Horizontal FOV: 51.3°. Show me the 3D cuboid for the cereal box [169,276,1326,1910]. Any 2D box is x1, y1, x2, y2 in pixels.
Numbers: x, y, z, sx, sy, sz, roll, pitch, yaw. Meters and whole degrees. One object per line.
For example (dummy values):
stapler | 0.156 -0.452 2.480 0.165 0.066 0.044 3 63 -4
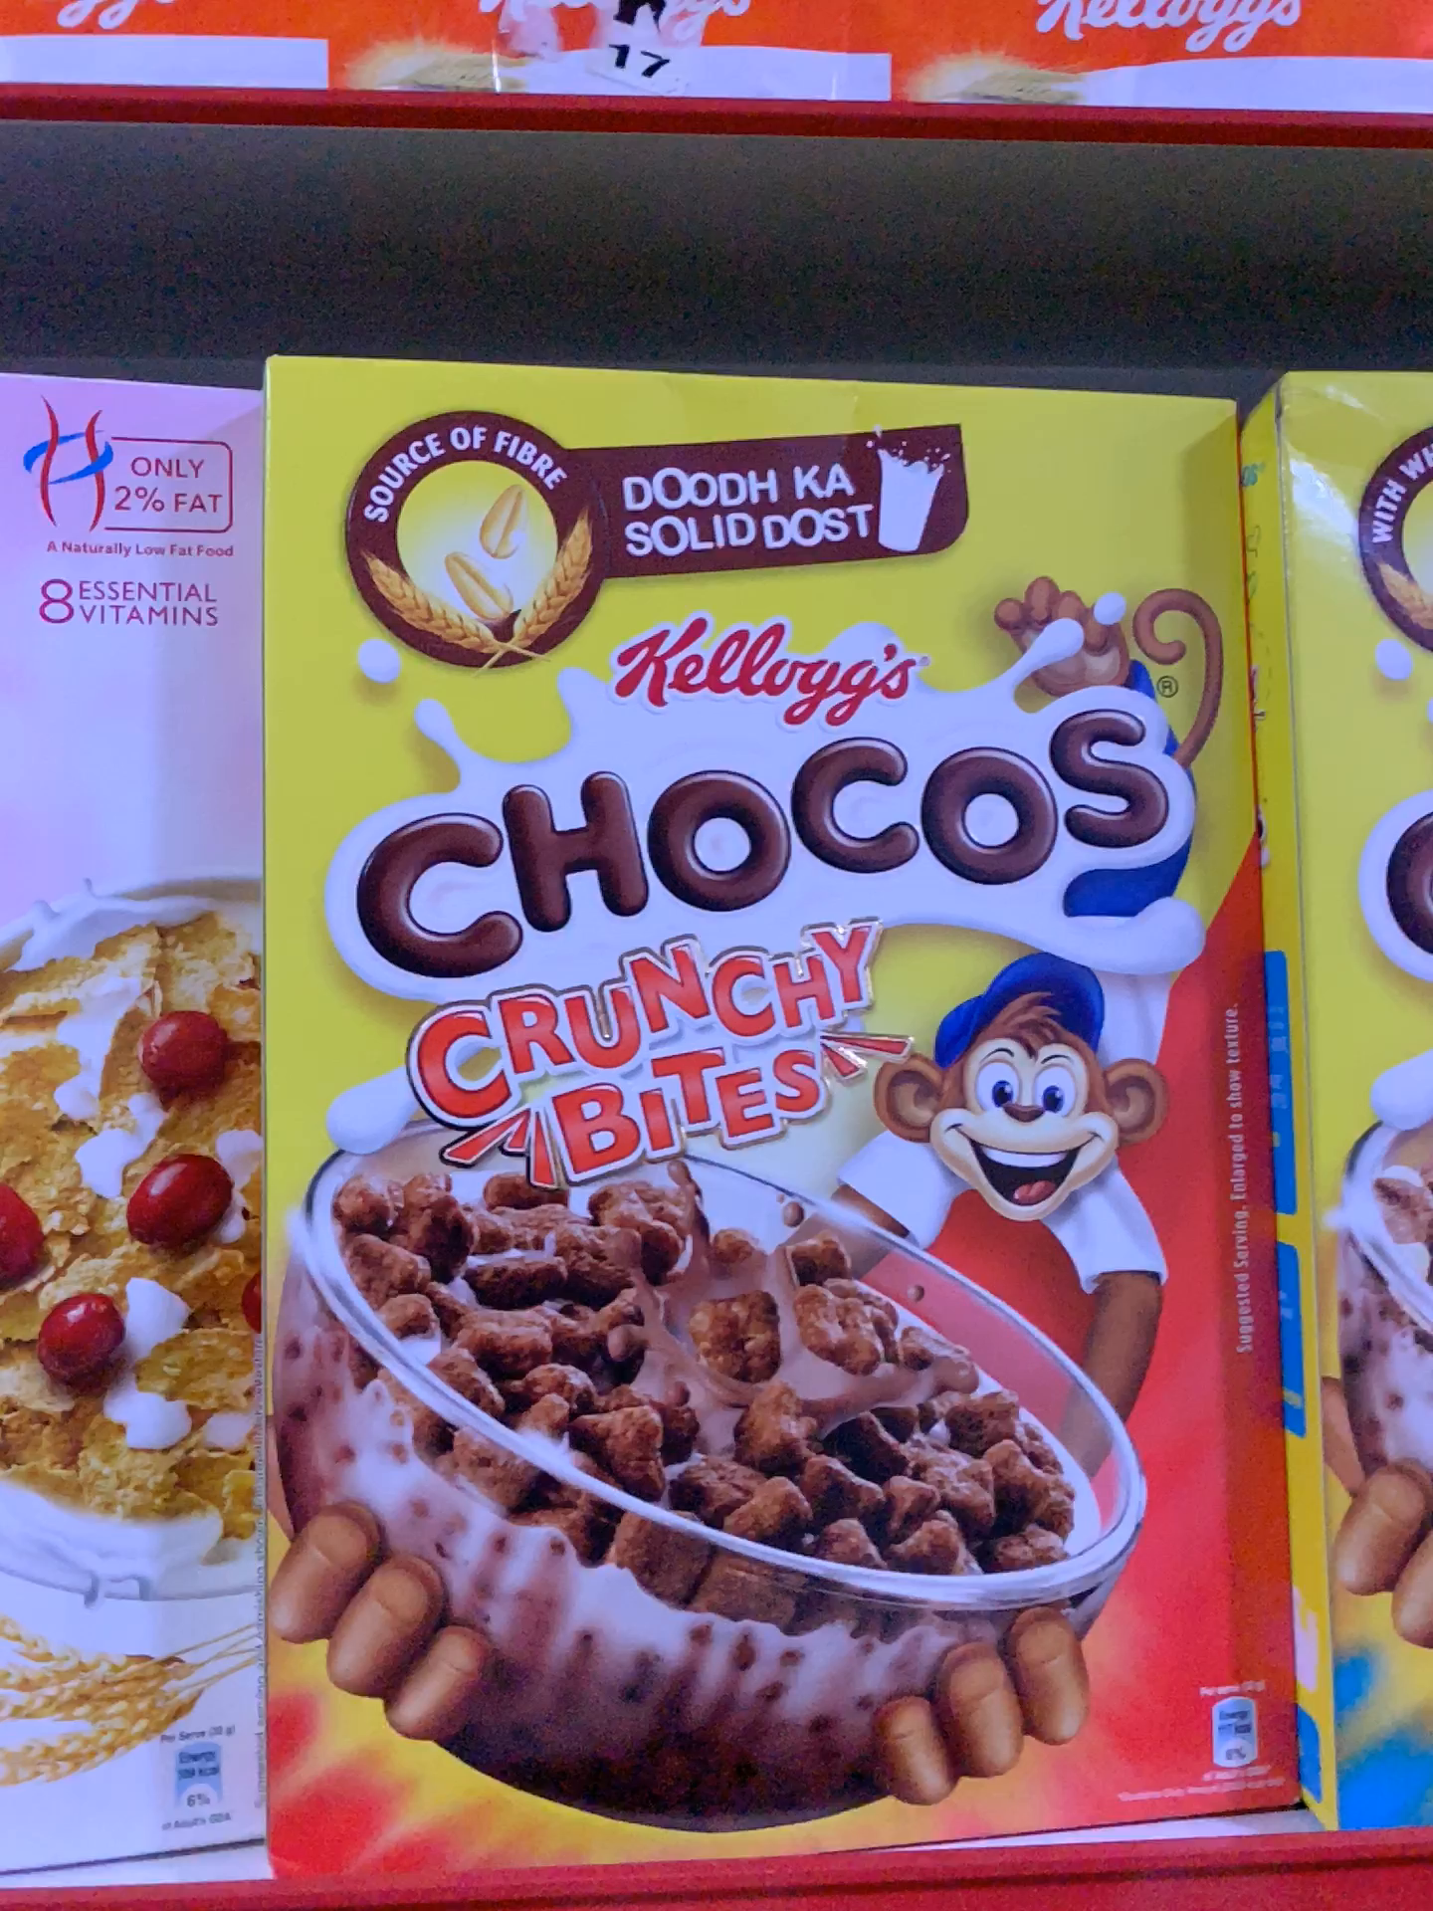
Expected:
cereal box | 0.002 0.022 0.288 0.190 0.260 0.080 0 -4 -12
